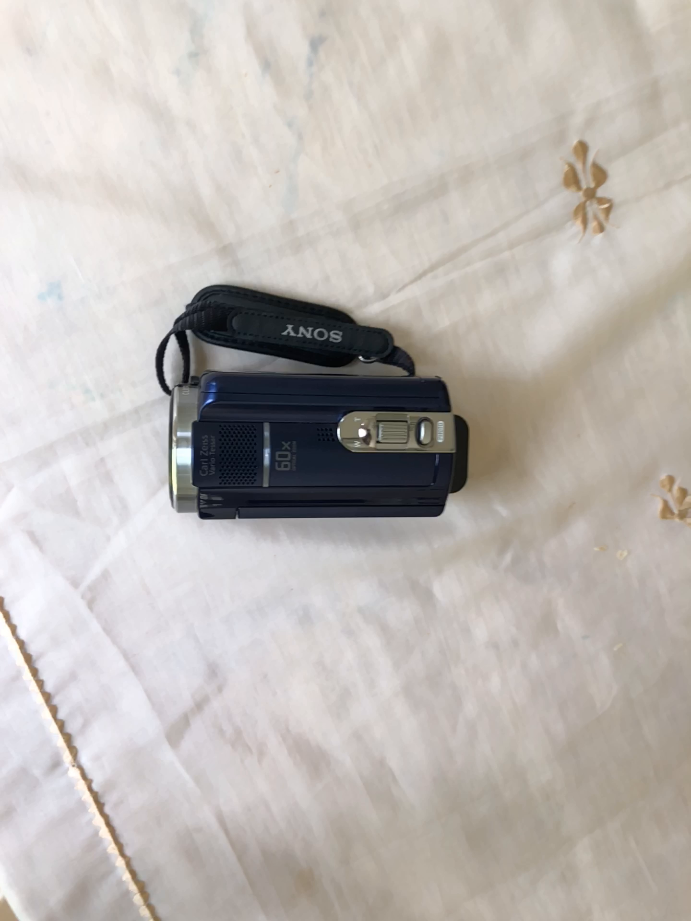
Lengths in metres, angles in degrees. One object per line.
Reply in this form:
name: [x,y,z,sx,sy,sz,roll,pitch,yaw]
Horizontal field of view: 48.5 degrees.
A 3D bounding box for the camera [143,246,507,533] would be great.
camera: [-0.011,-0.024,0.287,0.119,0.070,0.090,1,95,-10]
